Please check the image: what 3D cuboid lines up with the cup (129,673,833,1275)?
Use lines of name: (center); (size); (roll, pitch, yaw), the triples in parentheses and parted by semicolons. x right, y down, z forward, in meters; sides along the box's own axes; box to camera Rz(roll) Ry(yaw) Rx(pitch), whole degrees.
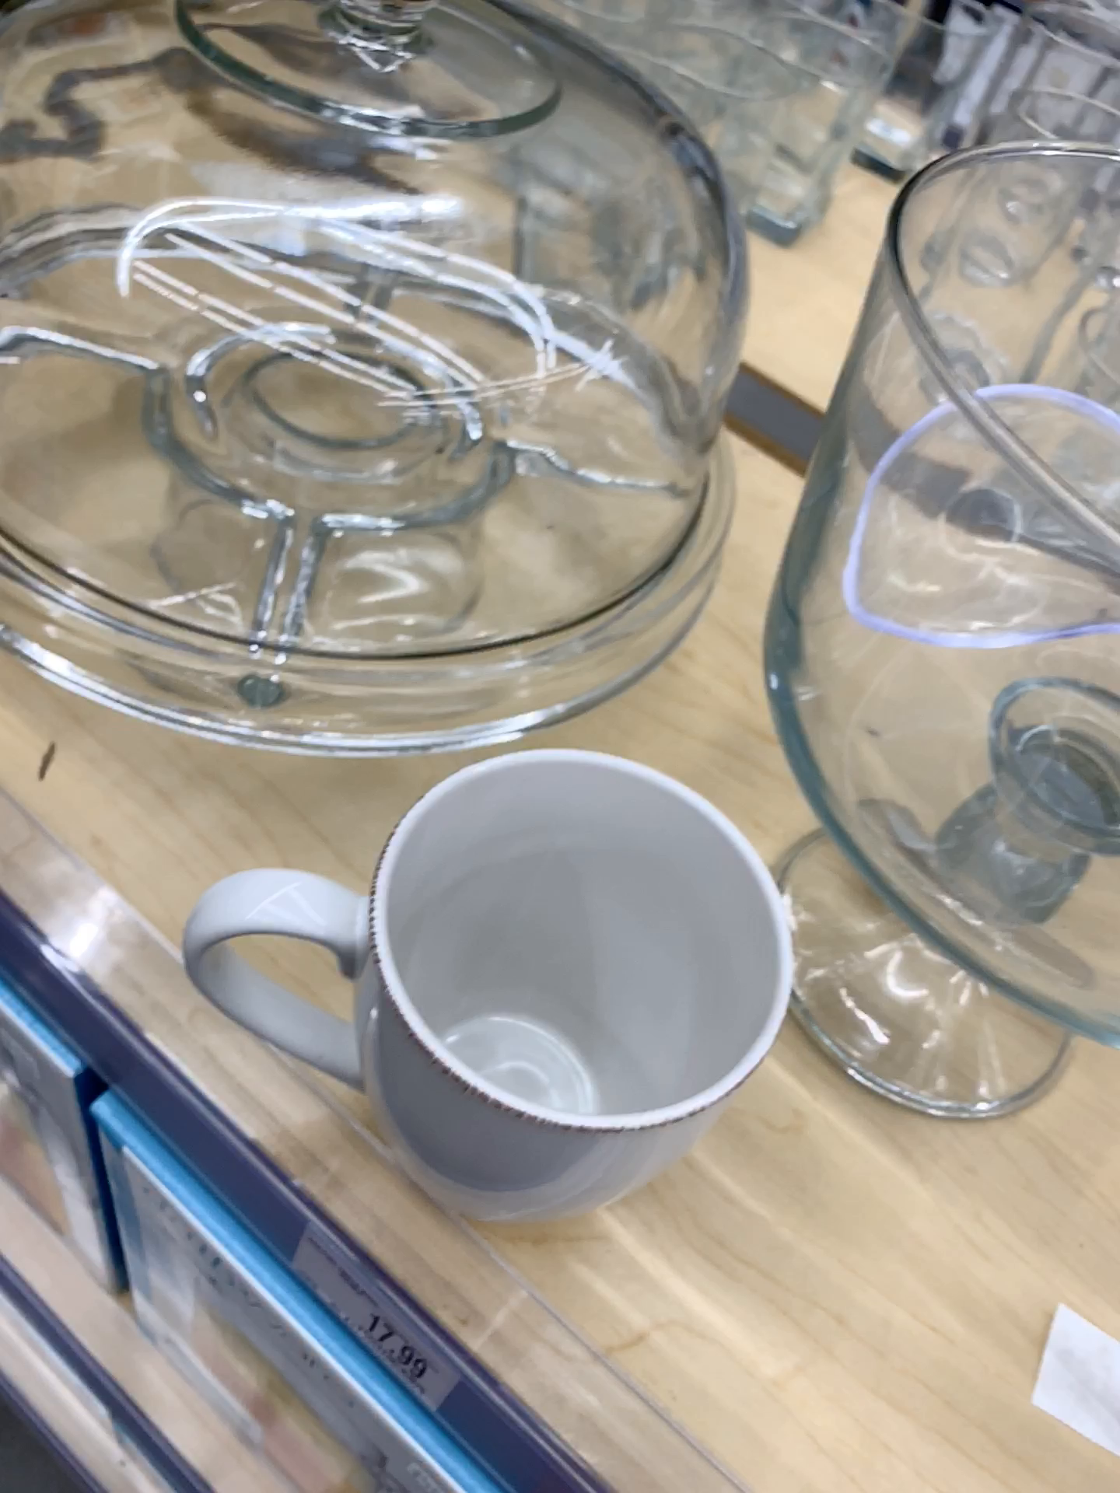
cup: (-0.021, 0.059, 0.279); (0.130, 0.094, 0.096); (9, 52, -9)
